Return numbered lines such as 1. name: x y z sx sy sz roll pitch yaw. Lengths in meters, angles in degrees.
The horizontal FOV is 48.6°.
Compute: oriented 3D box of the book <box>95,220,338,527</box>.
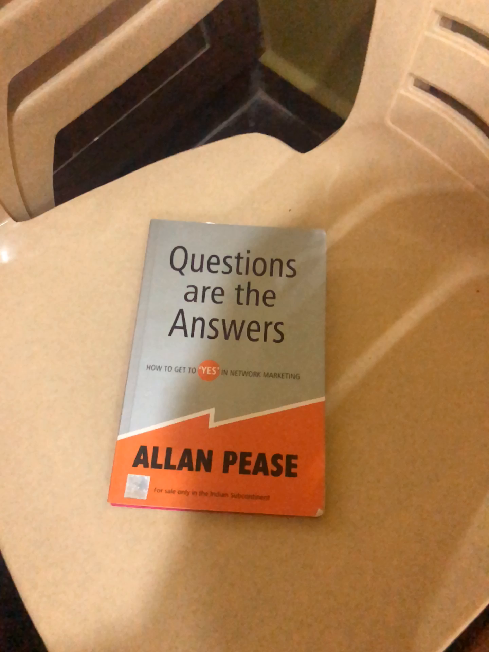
1. book: -0.011 0.024 0.381 0.150 0.020 0.210 3 69 4
